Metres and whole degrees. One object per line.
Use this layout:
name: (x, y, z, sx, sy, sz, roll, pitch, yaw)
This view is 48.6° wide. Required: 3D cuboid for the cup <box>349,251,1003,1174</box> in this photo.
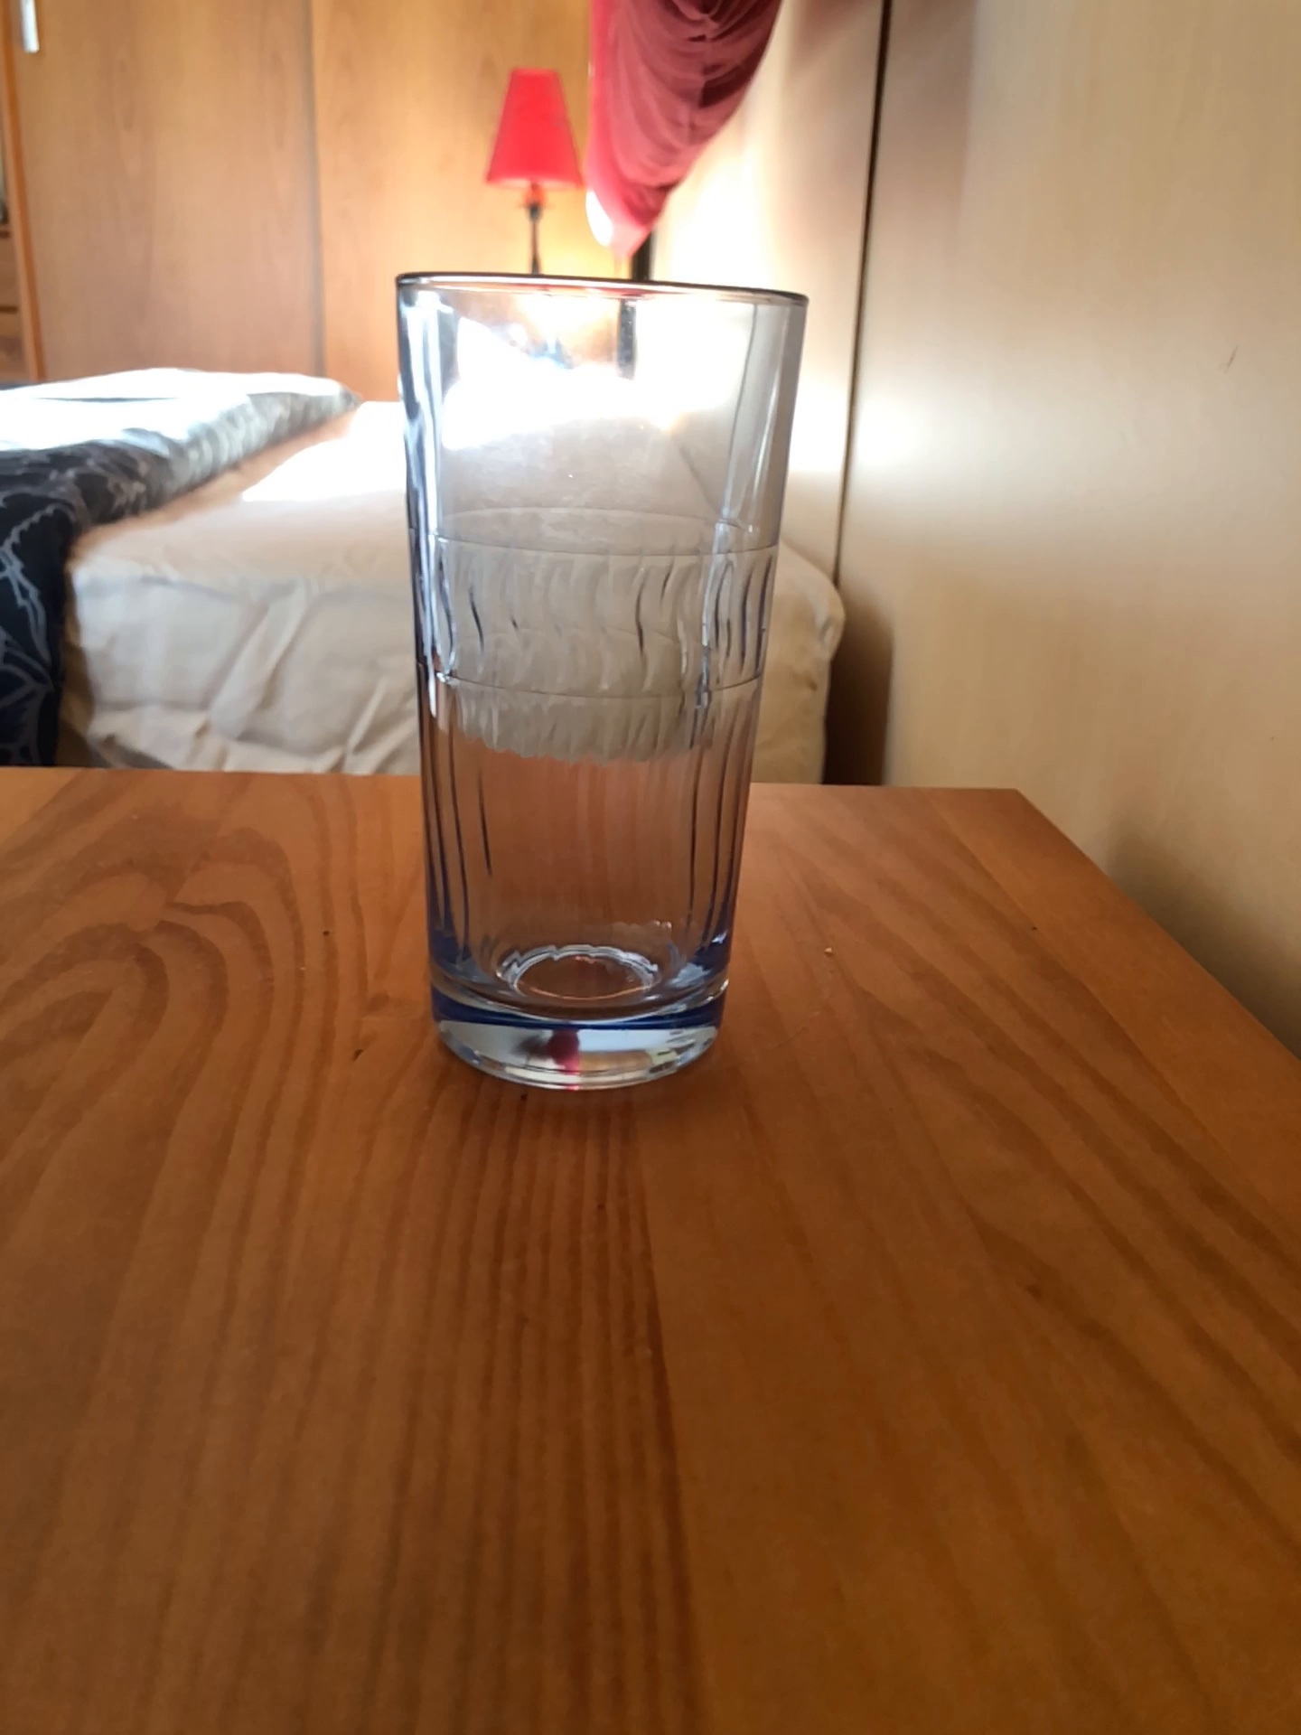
cup: (-0.001, -0.031, 0.244, 0.076, 0.129, 0.070, 3, 20, -1)
